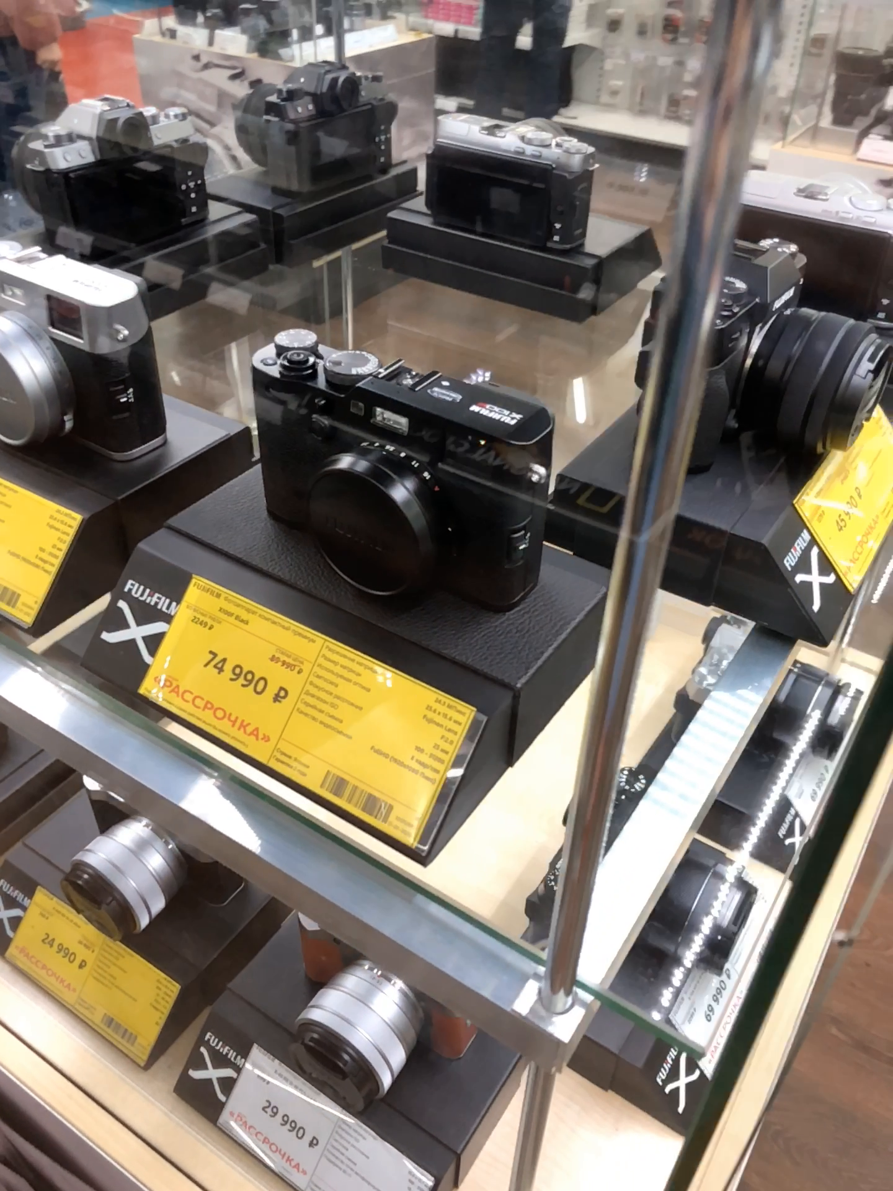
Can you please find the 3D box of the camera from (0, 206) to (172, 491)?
[{"bbox_3d":[-0.195,-0.113,0.440,0.131,0.080,0.055,23,42,24],"label":"camera"}]

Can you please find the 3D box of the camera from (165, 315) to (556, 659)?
[{"bbox_3d":[-0.033,-0.045,0.369,0.131,0.075,0.055,23,42,24],"label":"camera"}]

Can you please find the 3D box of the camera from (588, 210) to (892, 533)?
[{"bbox_3d":[0.146,-0.109,0.452,0.104,0.080,0.131,23,42,24],"label":"camera"}]
